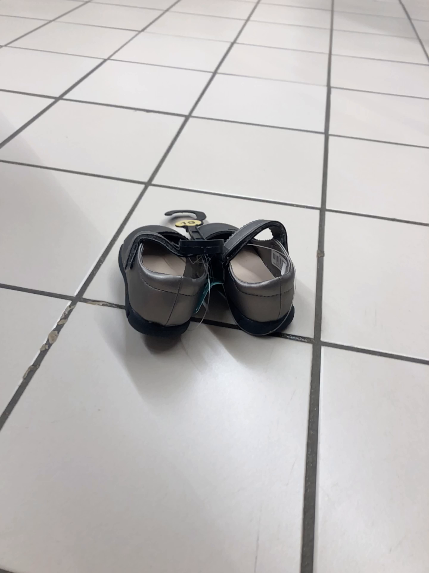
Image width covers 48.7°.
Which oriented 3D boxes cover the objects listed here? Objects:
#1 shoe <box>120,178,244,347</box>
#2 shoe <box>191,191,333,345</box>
[{"bbox_3d":[-0.033,-0.023,0.380,0.067,0.061,0.129,6,39,-20],"label":"shoe"},{"bbox_3d":[0.032,-0.022,0.398,0.059,0.047,0.135,-13,44,-19],"label":"shoe"}]
